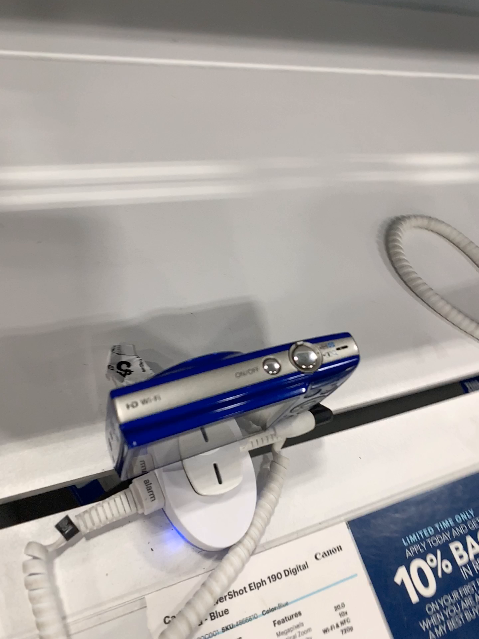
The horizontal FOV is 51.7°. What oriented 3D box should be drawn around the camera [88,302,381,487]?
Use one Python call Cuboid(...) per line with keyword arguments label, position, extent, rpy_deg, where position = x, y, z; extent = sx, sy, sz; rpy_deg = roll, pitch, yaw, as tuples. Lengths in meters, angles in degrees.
Cuboid(label="camera", position=(-0.004, 0.029, 0.195), extent=(0.100, 0.060, 0.027), rpy_deg=(-15, 70, -26))
